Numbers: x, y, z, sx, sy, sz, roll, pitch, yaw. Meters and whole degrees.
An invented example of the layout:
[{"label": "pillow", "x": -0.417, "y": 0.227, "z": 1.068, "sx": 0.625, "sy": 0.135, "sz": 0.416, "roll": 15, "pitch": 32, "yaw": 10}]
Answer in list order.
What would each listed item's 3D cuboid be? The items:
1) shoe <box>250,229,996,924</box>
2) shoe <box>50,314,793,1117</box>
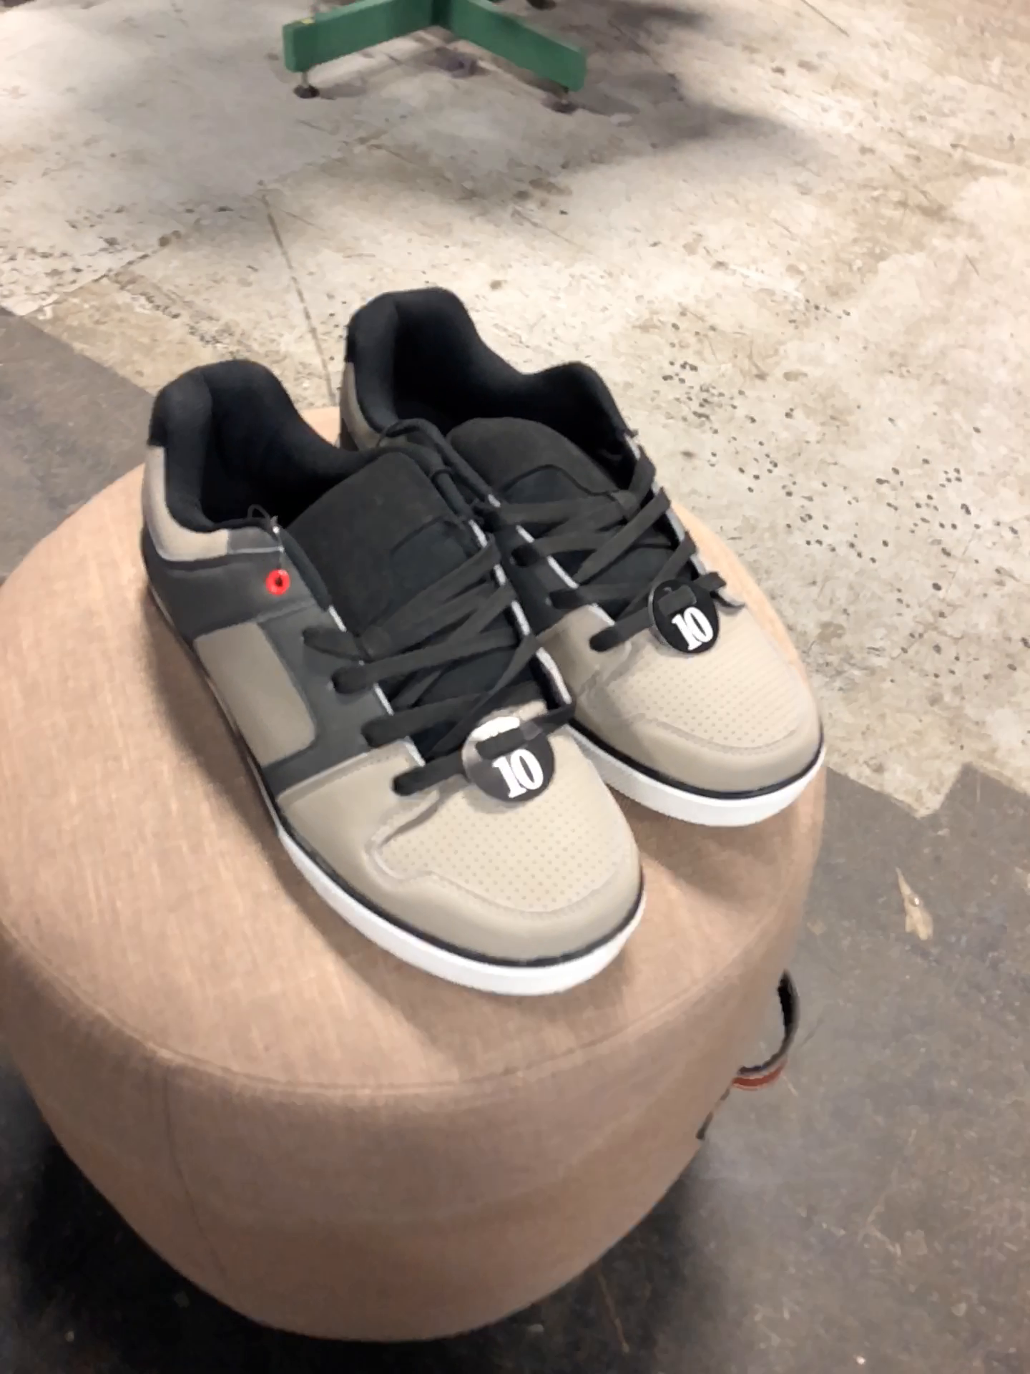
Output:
[{"label": "shoe", "x": 0.025, "y": -0.066, "z": 0.490, "sx": 0.120, "sy": 0.099, "sz": 0.311, "roll": -31, "pitch": 60, "yaw": -26}, {"label": "shoe", "x": -0.047, "y": -0.004, "z": 0.420, "sx": 0.120, "sy": 0.119, "sz": 0.261, "roll": -28, "pitch": 59, "yaw": -25}]
